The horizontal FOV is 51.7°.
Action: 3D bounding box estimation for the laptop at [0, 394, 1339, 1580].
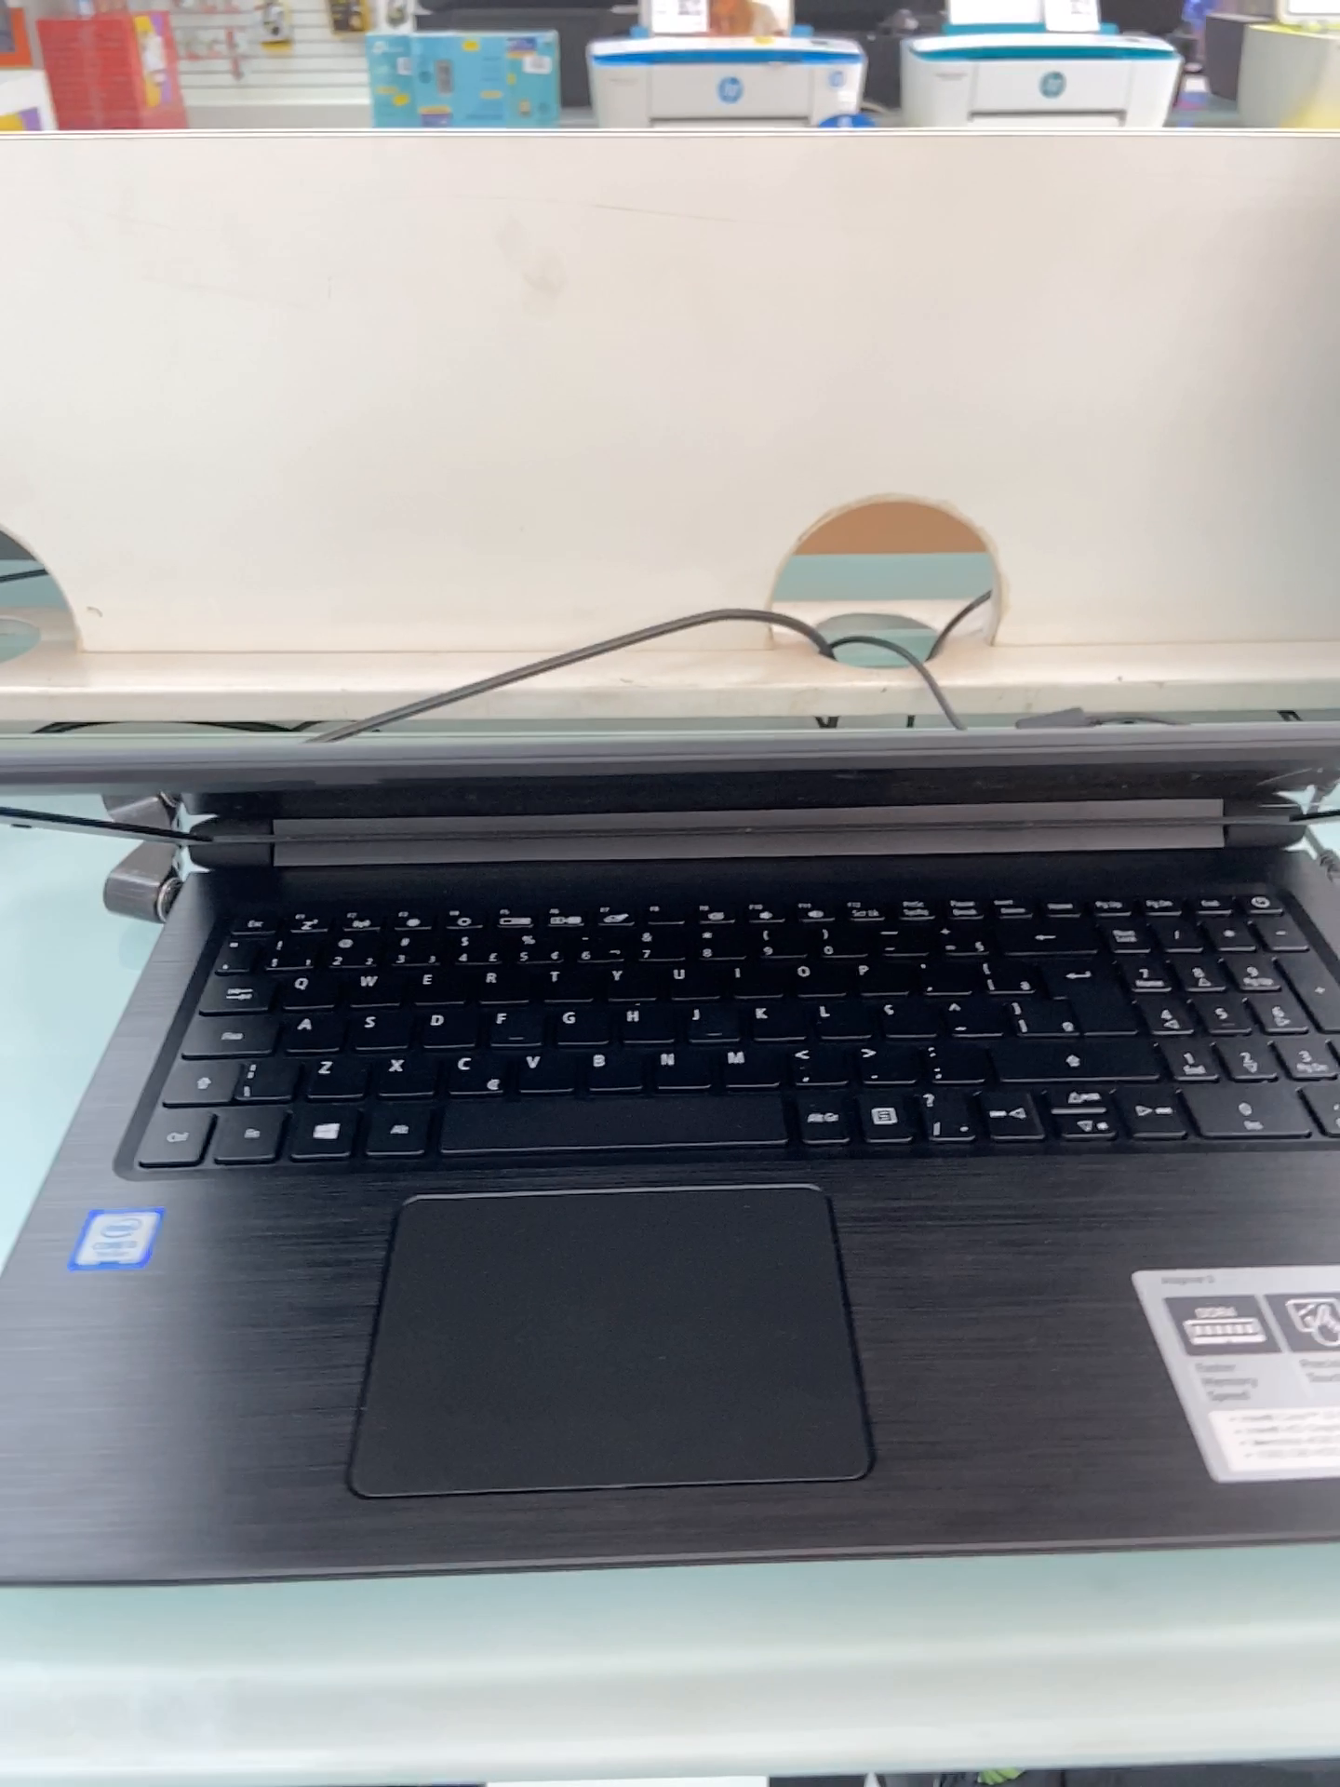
[{"bbox_3d":[0.031,-0.005,0.315,0.367,0.142,0.234,-2,34,-1],"label":"laptop"}]
